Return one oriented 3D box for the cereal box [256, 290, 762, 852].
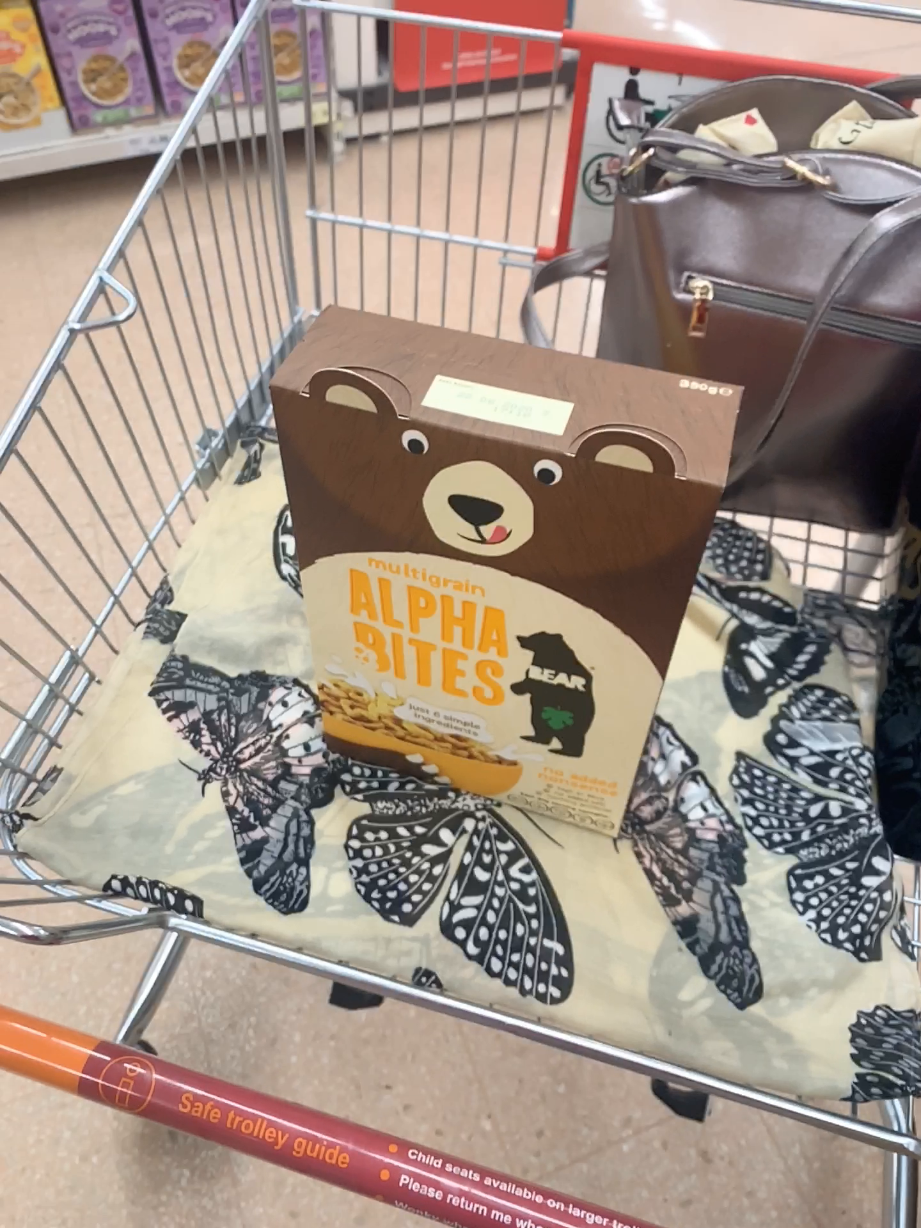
[{"bbox_3d":[0.015,-0.001,0.507,0.200,0.298,0.071,15,50,9],"label":"cereal box"}]
